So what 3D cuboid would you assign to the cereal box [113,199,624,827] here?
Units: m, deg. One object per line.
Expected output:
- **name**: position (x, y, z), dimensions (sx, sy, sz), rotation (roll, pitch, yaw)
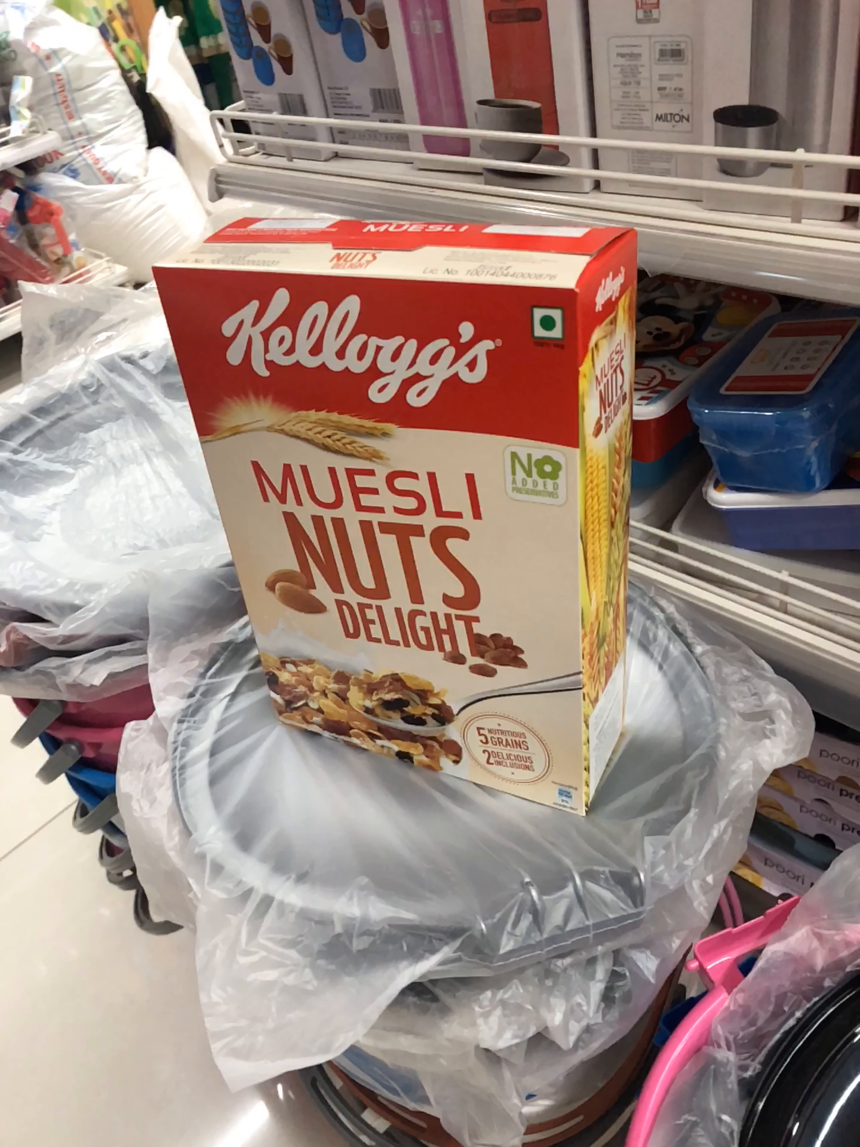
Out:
- **cereal box**: position (-0.017, -0.026, 0.440), dimensions (0.190, 0.259, 0.070), rotation (13, 38, 26)
